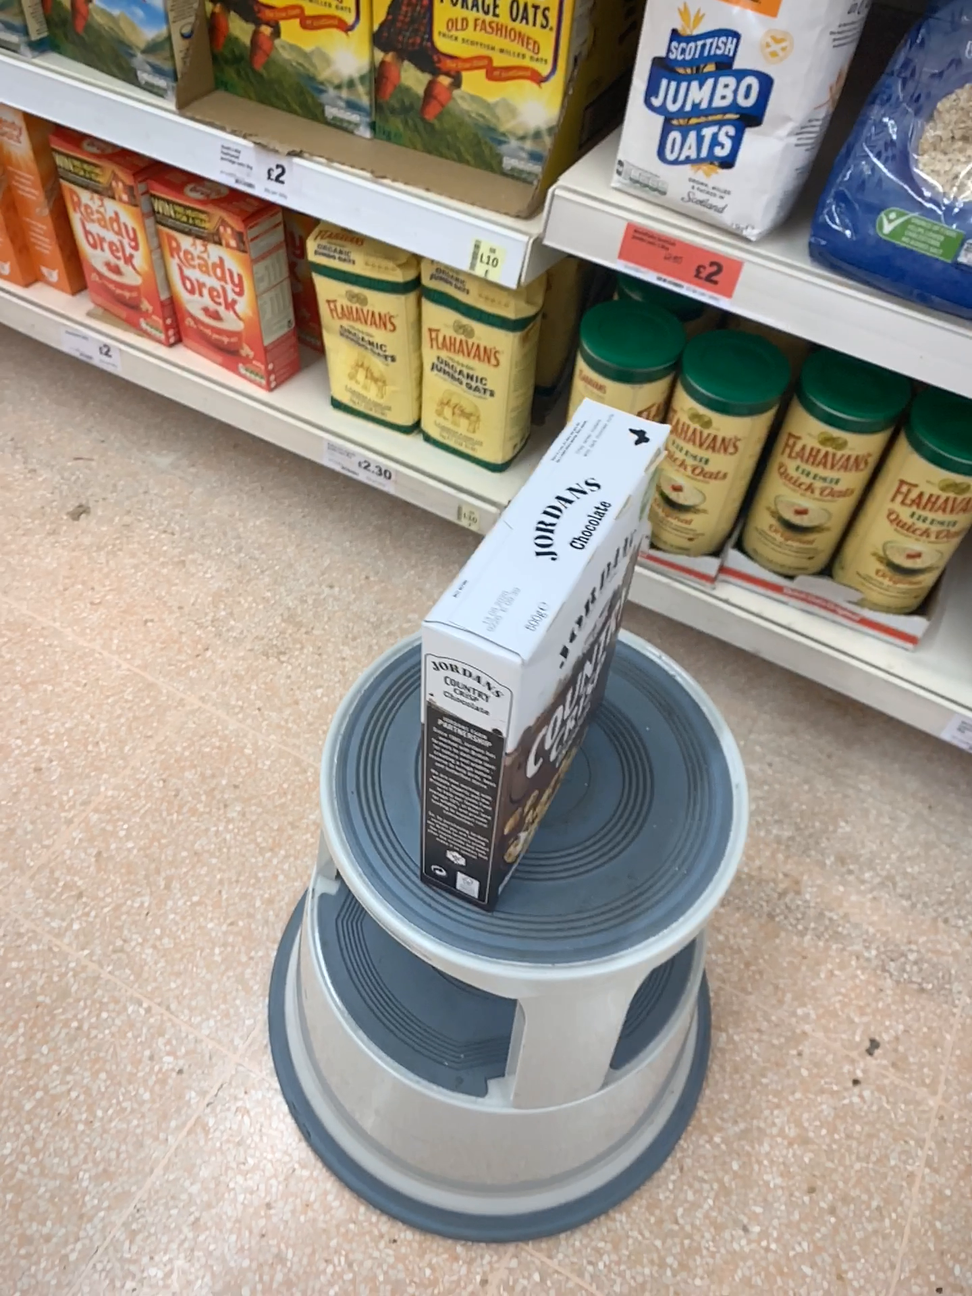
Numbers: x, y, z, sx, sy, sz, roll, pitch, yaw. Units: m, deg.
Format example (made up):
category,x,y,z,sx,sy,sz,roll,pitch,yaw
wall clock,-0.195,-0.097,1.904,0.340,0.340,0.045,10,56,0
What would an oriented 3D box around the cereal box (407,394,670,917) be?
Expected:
category,x,y,z,sx,sy,sz,roll,pitch,yaw
cereal box,0.024,0.014,0.565,0.050,0.248,0.181,23,53,13
